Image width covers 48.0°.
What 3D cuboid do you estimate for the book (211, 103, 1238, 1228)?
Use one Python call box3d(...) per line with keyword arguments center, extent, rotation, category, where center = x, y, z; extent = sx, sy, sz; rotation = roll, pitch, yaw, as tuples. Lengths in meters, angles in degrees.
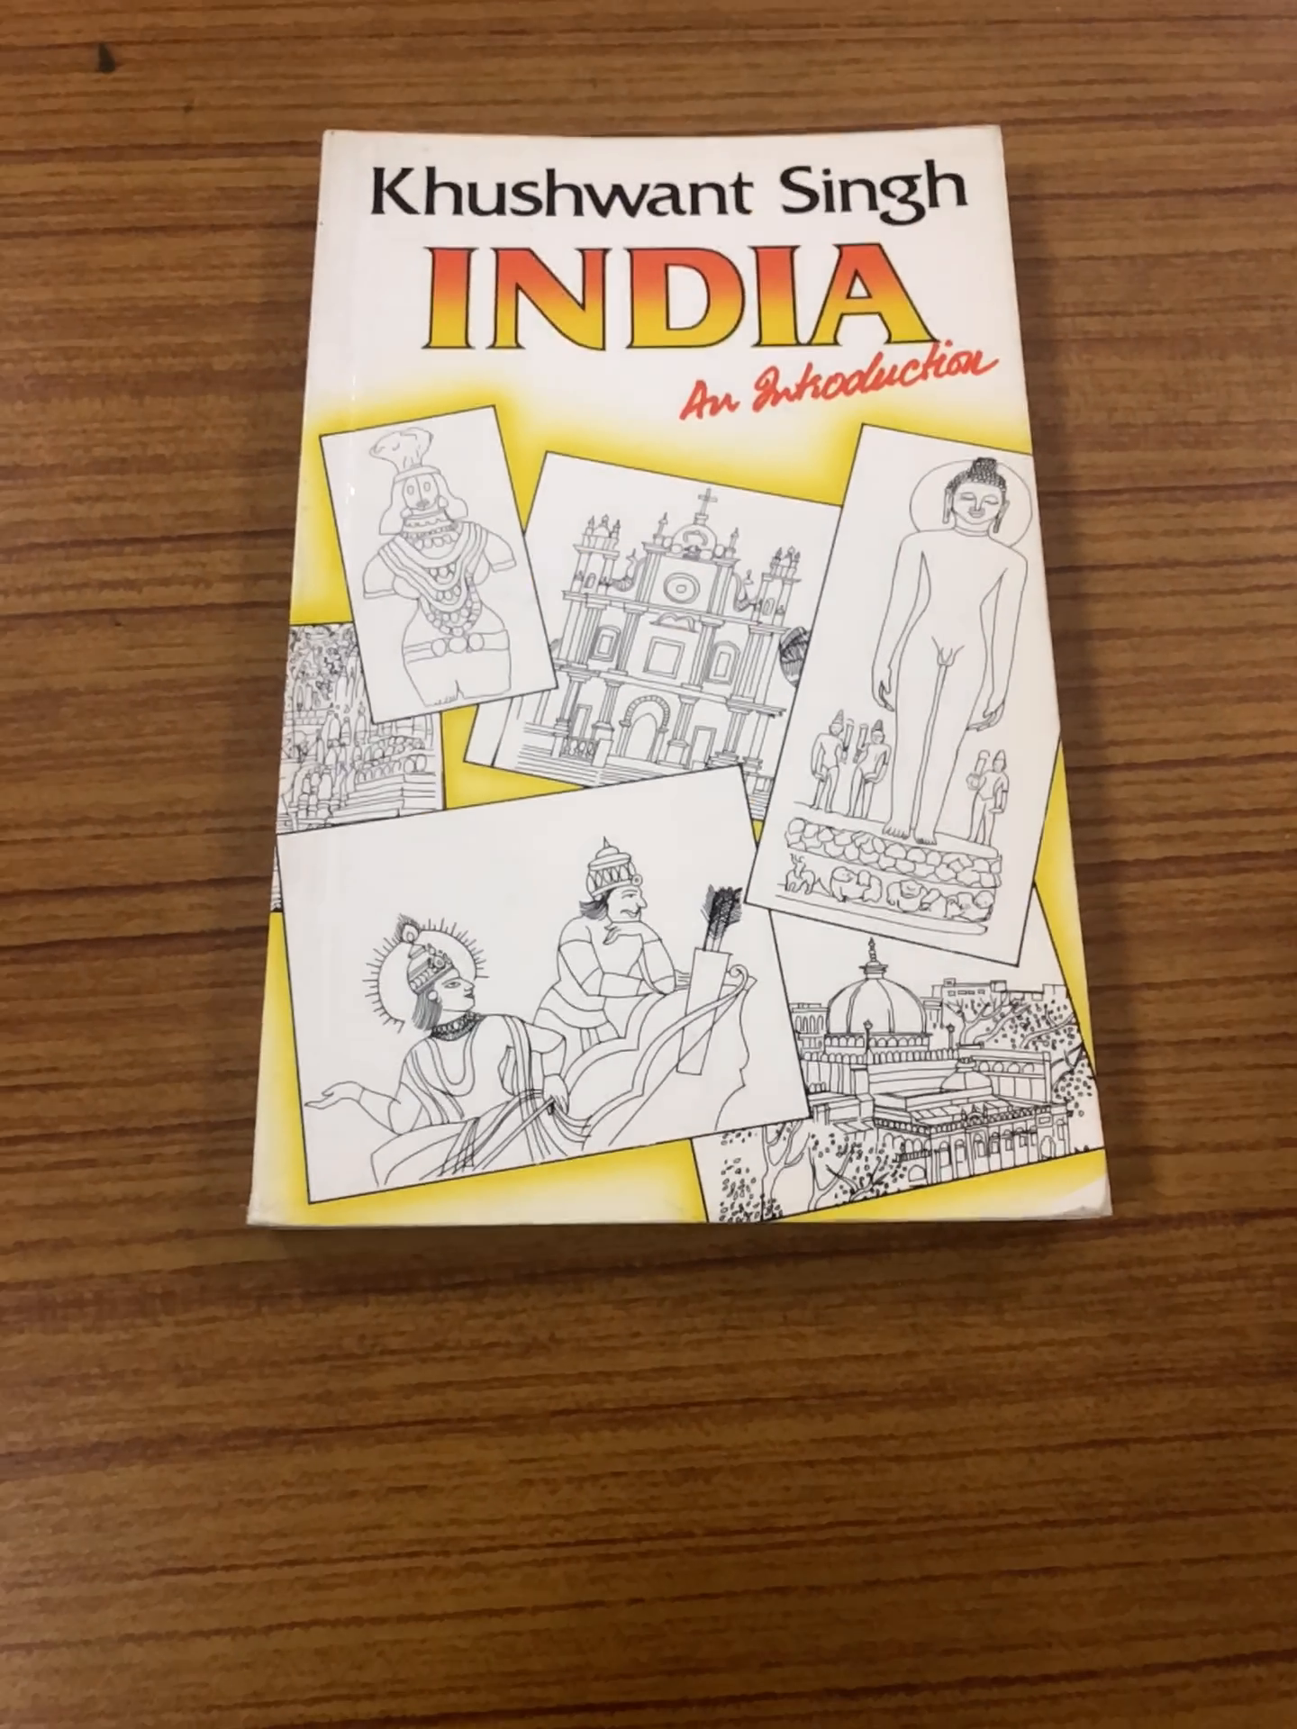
box3d(center=(0.010, -0.040, 0.237), extent=(0.140, 0.020, 0.190), rotation=(0, 72, -1), category="book")
